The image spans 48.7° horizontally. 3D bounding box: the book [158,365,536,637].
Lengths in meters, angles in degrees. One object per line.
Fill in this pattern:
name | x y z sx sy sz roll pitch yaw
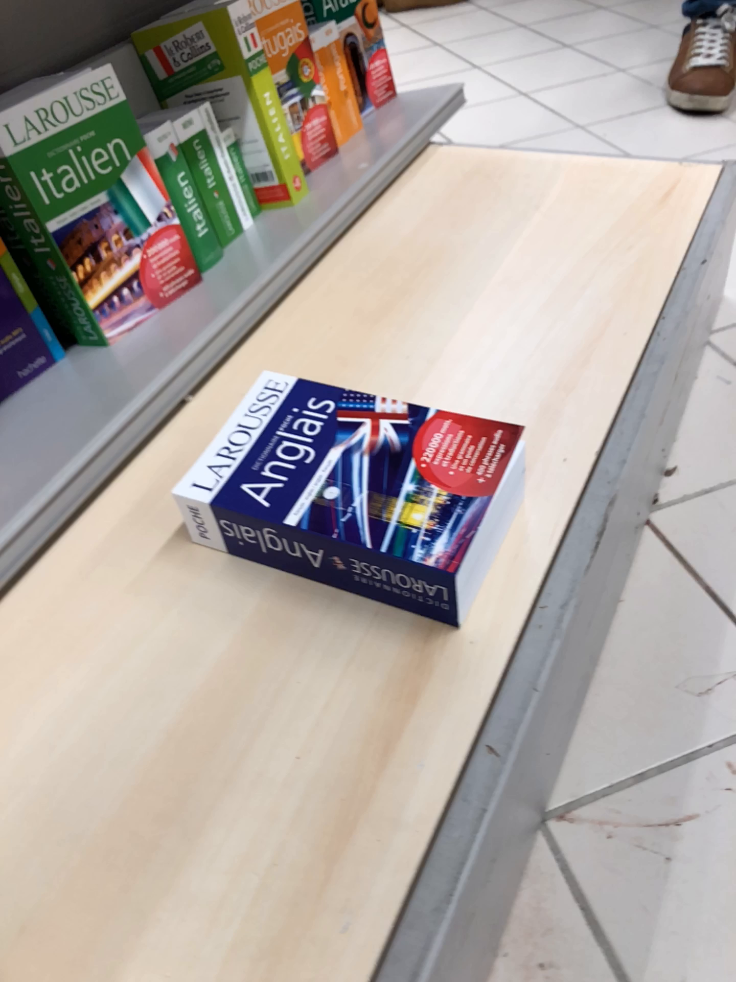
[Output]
book | -0.009 -0.003 0.477 0.181 0.054 0.118 15 47 22
